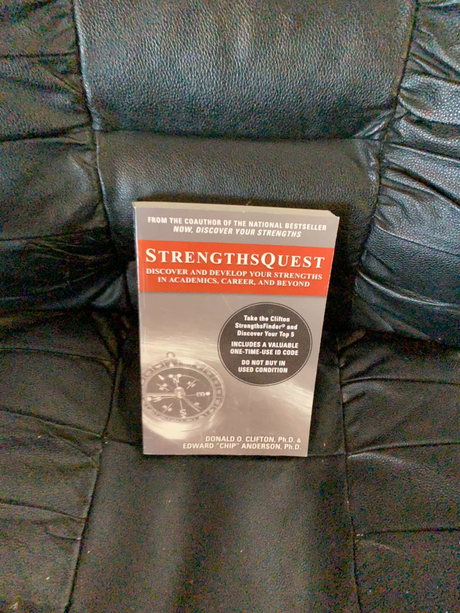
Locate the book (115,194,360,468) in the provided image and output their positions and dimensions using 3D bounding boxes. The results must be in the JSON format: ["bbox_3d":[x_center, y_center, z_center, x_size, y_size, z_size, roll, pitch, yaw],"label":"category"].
[{"bbox_3d":[0.004,0.031,0.393,0.170,0.239,0.030,0,25,-1],"label":"book"}]
